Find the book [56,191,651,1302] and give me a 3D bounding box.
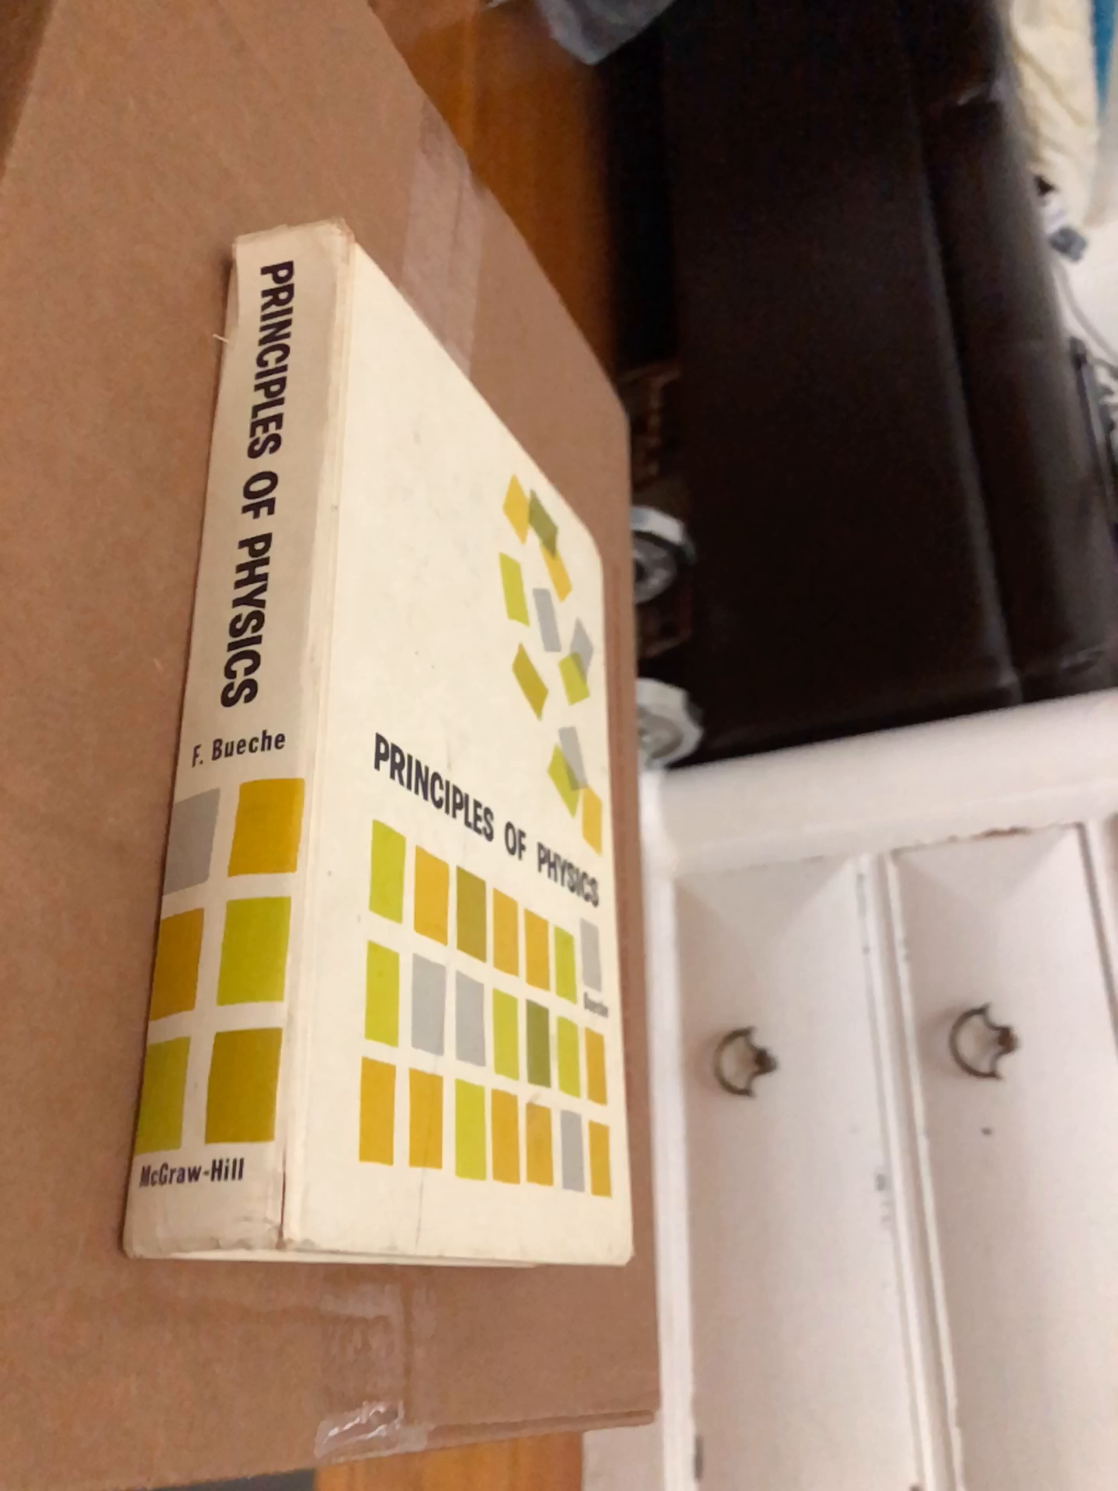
[{"bbox_3d":[-0.033,0.013,0.339,0.181,0.040,0.250,41,43,-55],"label":"book"}]
